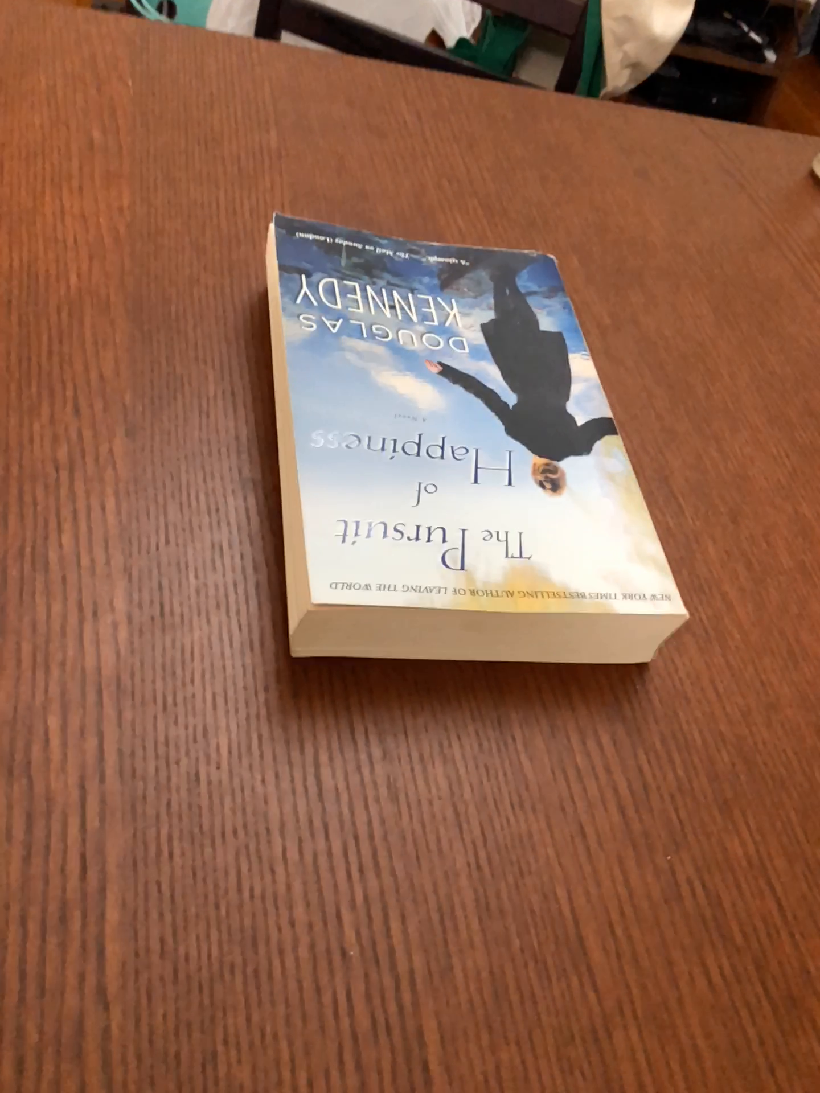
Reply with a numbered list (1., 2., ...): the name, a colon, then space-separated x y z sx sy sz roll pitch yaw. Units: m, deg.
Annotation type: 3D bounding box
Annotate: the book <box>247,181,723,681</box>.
1. book: 0.015 -0.059 0.398 0.160 0.050 0.241 3 51 -16
